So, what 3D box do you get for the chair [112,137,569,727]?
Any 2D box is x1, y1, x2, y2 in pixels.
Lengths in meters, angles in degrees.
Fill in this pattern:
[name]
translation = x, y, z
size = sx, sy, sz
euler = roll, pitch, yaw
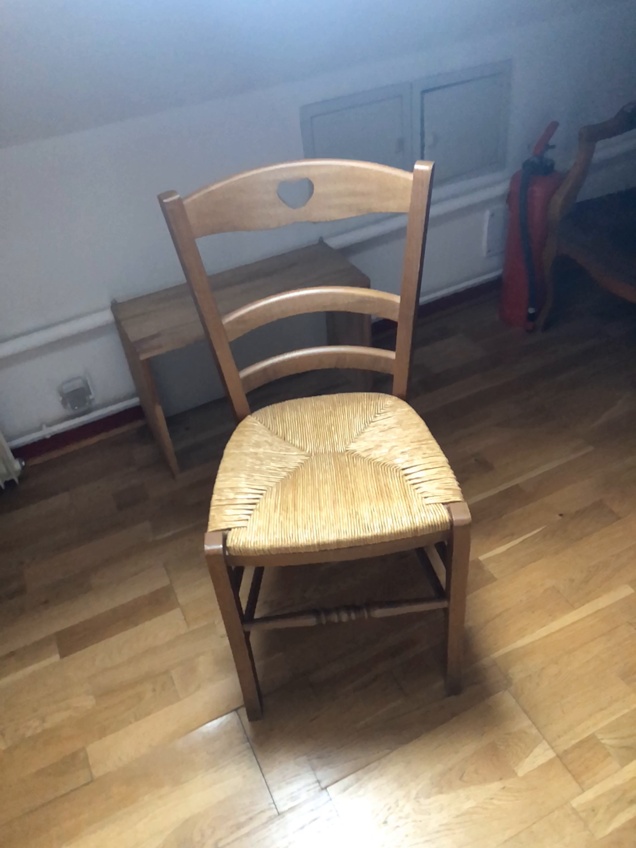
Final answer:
[chair]
translation = 0.036, 0.043, 1.107
size = 0.458, 0.793, 0.436
euler = -7, 39, -2
